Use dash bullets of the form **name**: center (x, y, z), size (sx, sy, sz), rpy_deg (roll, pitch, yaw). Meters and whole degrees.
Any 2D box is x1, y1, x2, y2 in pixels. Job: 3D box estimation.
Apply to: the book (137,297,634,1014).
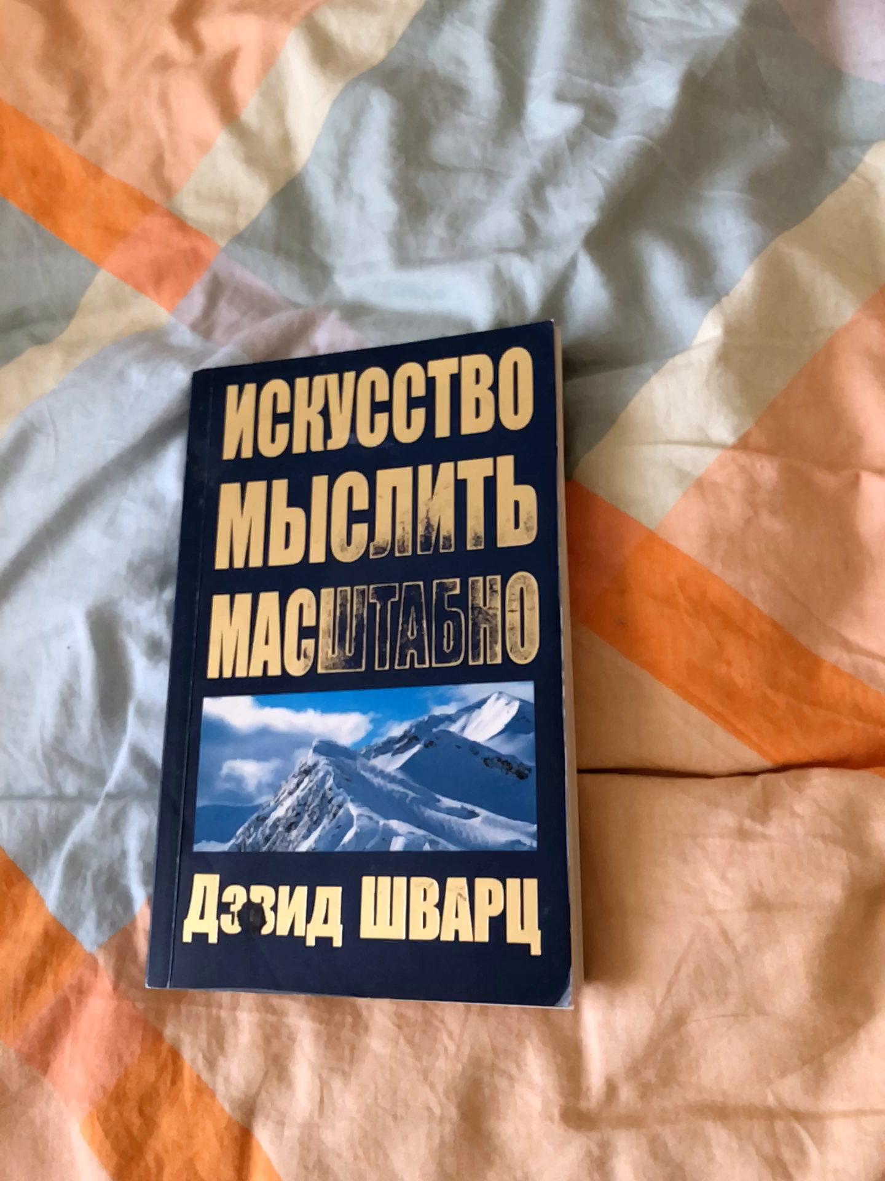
- **book**: center (-0.015, 0.015, 0.283), size (0.127, 0.028, 0.189), rpy_deg (-4, 73, 15)
